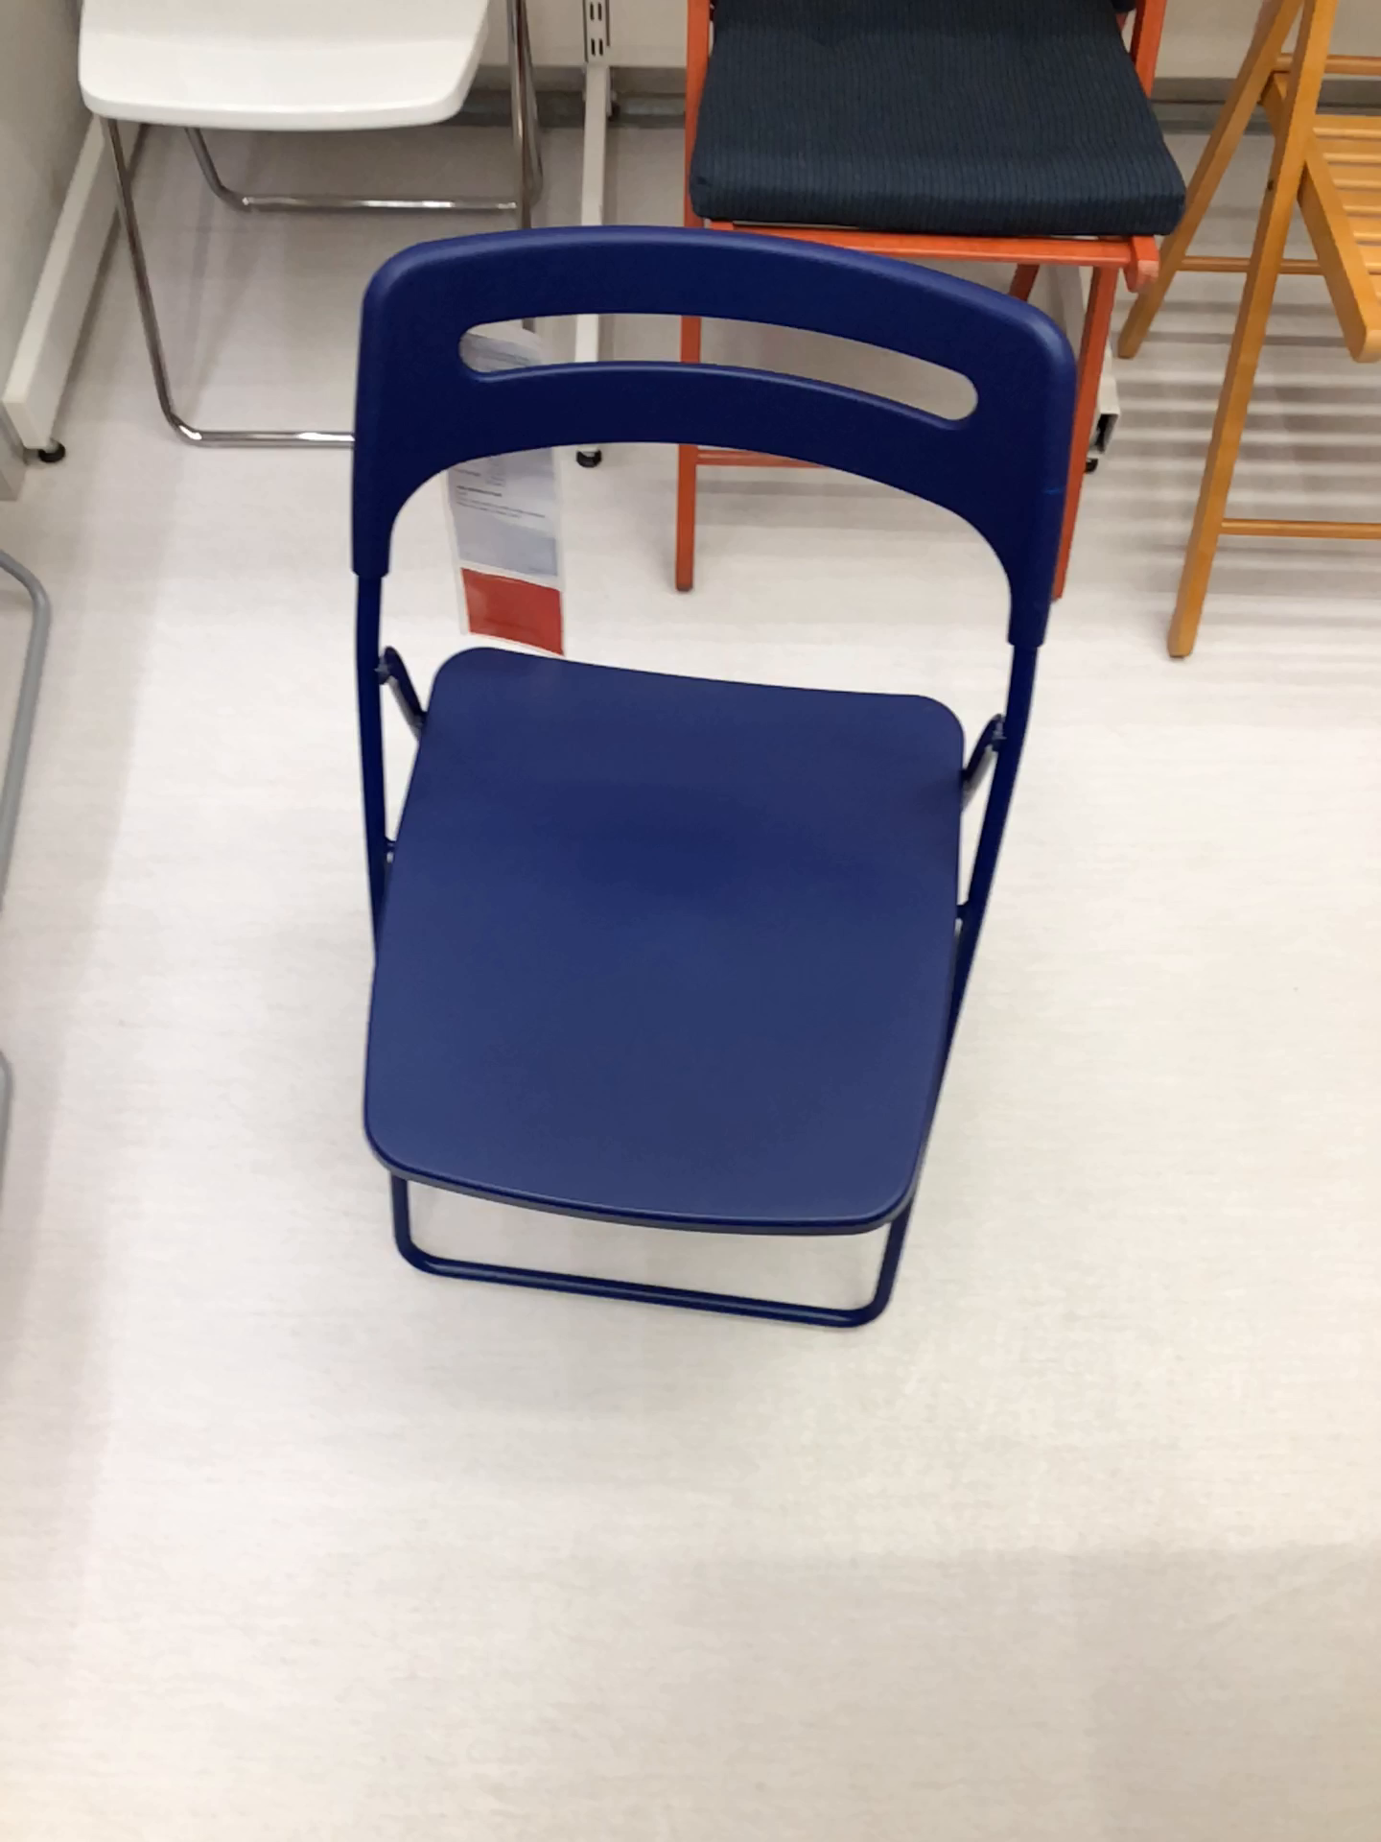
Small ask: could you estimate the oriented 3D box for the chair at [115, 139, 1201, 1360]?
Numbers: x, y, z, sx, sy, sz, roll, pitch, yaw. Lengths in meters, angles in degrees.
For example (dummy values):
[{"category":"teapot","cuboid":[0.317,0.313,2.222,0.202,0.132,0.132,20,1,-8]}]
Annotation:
[{"category":"chair","cuboid":[0.006,-0.045,1.062,0.460,0.697,0.502,7,63,2]}]
